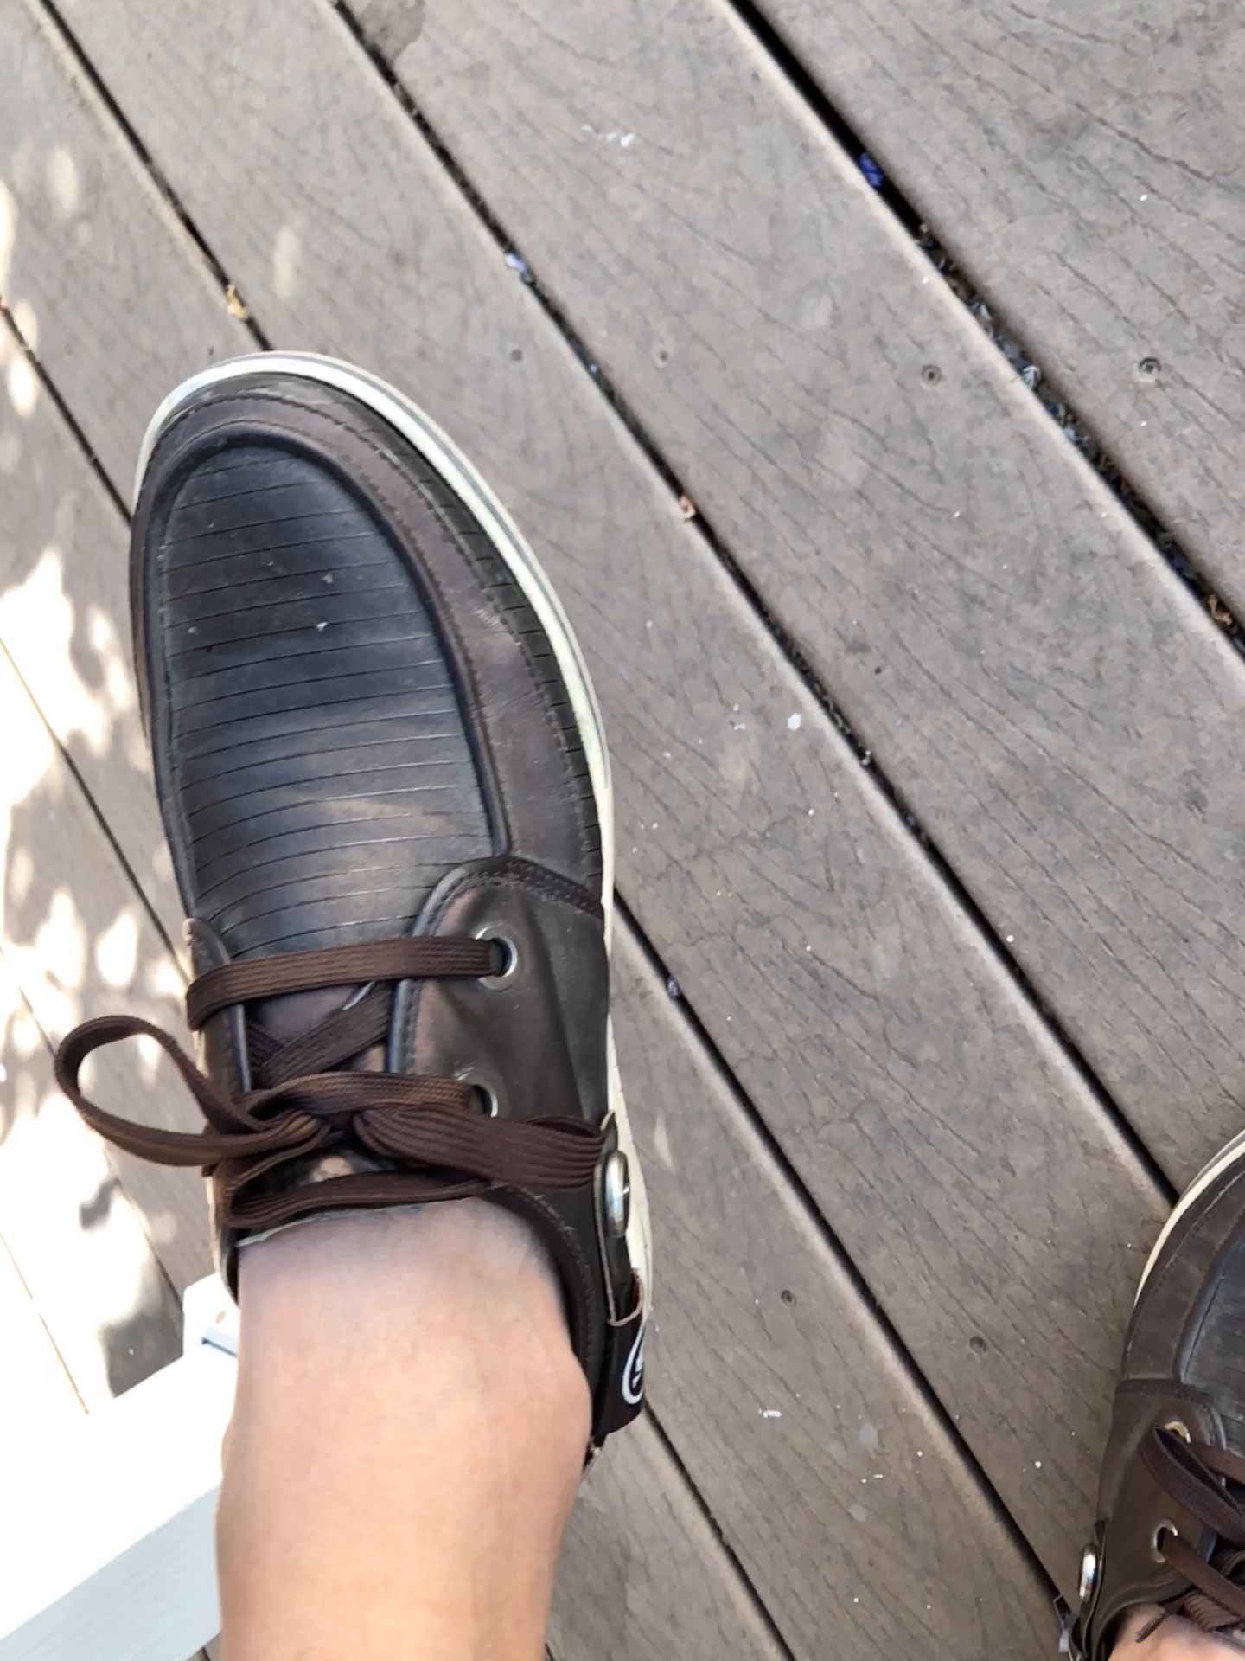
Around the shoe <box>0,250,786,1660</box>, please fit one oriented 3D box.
[{"bbox_3d":[-0.046,0.037,0.329,0.119,0.104,0.295,-8,104,12],"label":"shoe"}]
